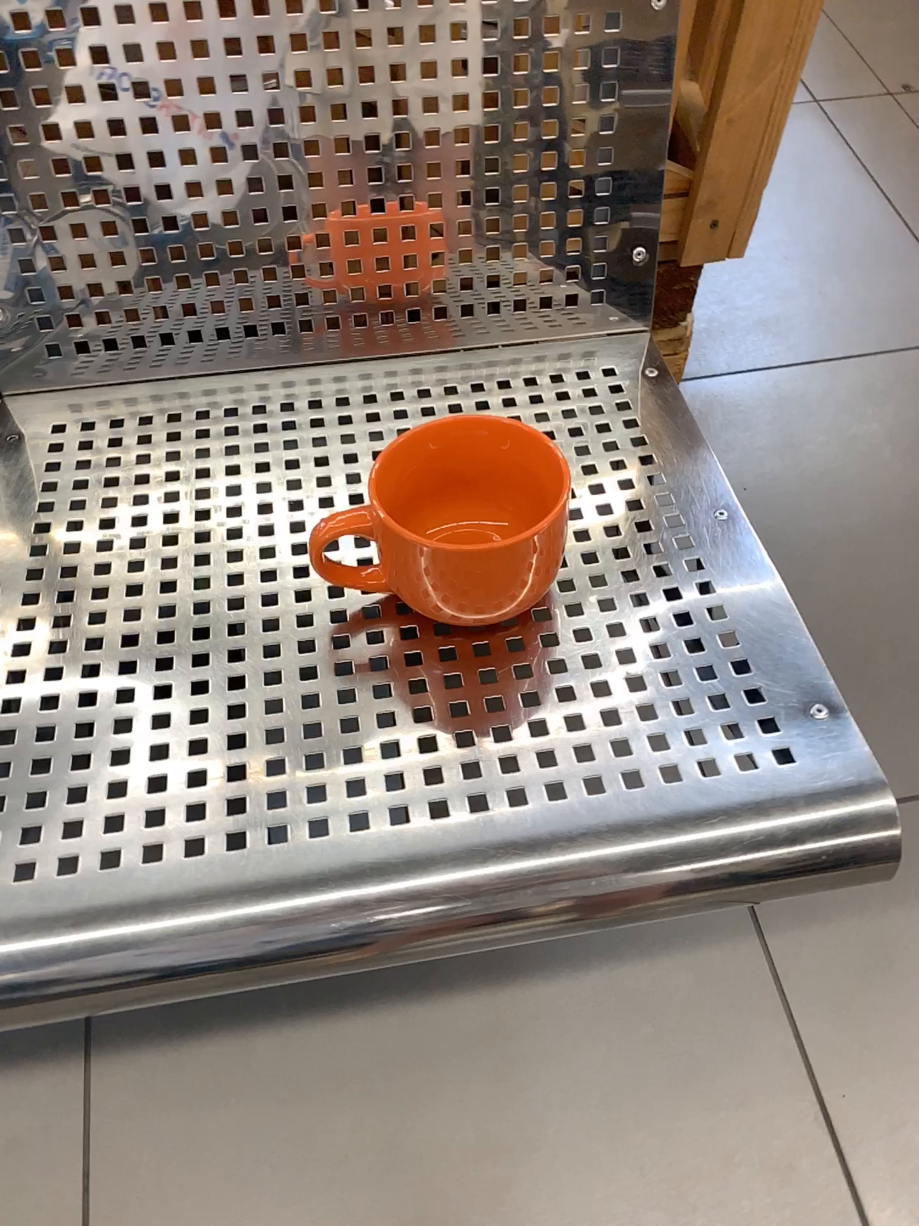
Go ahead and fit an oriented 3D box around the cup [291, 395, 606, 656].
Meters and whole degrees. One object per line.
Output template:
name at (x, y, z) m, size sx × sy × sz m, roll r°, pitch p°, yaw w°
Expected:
cup at (-0.010, -0.051, 0.523) m, size 0.150 × 0.070 × 0.110 m, roll -8°, pitch 48°, yaw -7°
